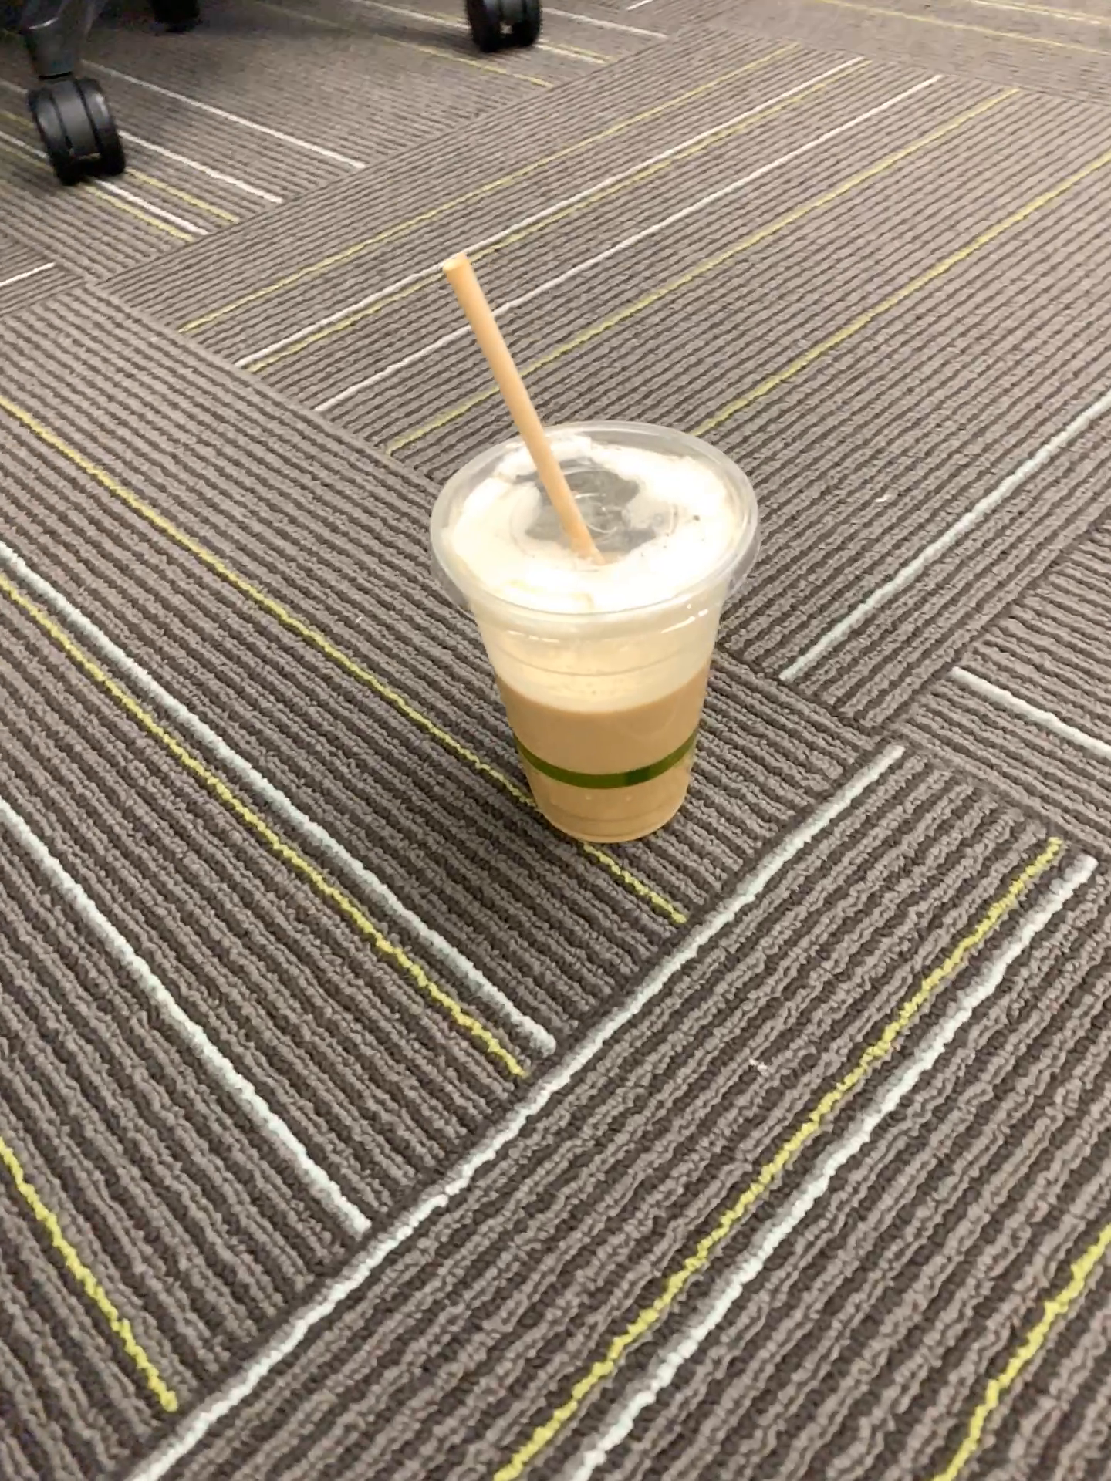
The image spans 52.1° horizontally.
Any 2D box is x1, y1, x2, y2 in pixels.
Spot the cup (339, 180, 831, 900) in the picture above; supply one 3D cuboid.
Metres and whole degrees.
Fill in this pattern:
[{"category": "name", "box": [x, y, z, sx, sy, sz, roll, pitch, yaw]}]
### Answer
[{"category": "cup", "box": [0.010, -0.052, 0.348, 0.100, 0.179, 0.090, -15, 47, -8]}]
